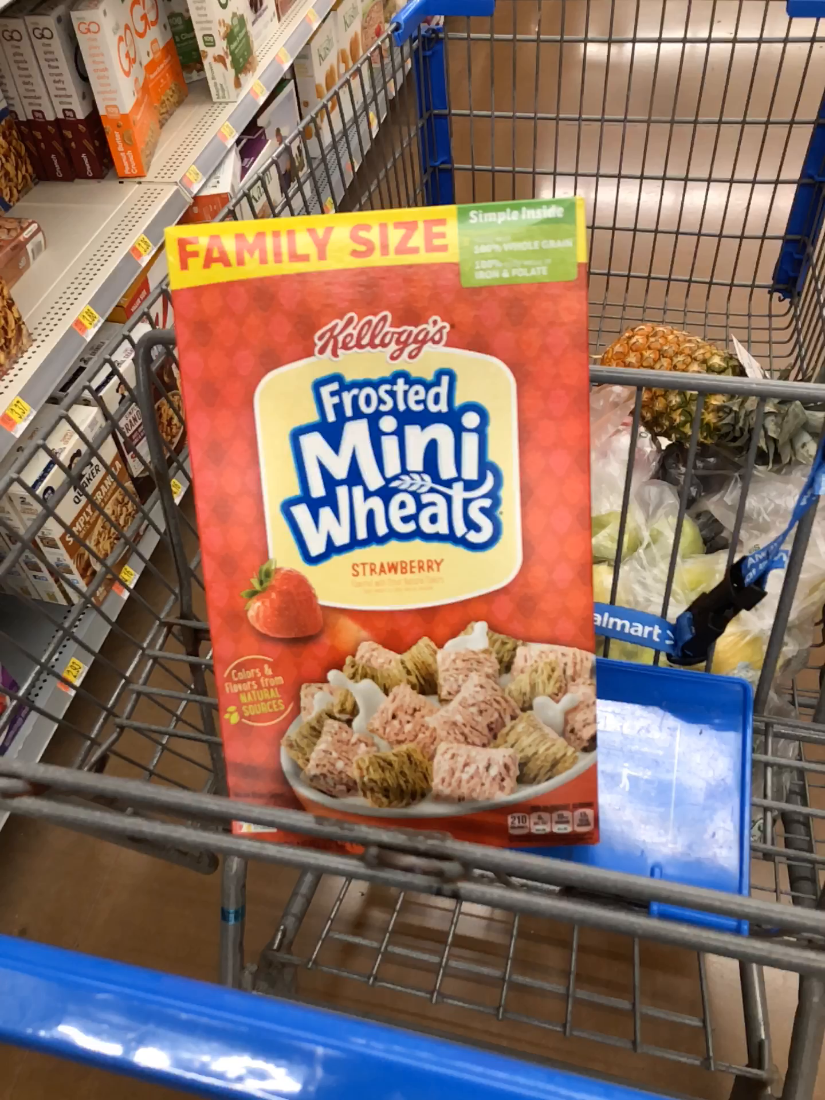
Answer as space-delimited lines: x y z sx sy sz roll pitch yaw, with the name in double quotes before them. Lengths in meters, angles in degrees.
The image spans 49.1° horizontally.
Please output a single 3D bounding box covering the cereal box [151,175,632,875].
"cereal box" -0.002 -0.005 0.461 0.200 0.320 0.070 -4 10 3
